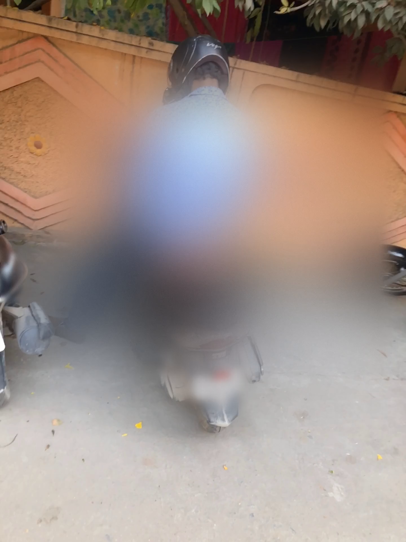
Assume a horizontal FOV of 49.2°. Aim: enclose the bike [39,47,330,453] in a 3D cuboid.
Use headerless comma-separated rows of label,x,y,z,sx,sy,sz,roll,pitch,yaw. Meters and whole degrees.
bike,-0.260,-0.186,2.001,0.629,1.038,1.324,-3,35,-29
